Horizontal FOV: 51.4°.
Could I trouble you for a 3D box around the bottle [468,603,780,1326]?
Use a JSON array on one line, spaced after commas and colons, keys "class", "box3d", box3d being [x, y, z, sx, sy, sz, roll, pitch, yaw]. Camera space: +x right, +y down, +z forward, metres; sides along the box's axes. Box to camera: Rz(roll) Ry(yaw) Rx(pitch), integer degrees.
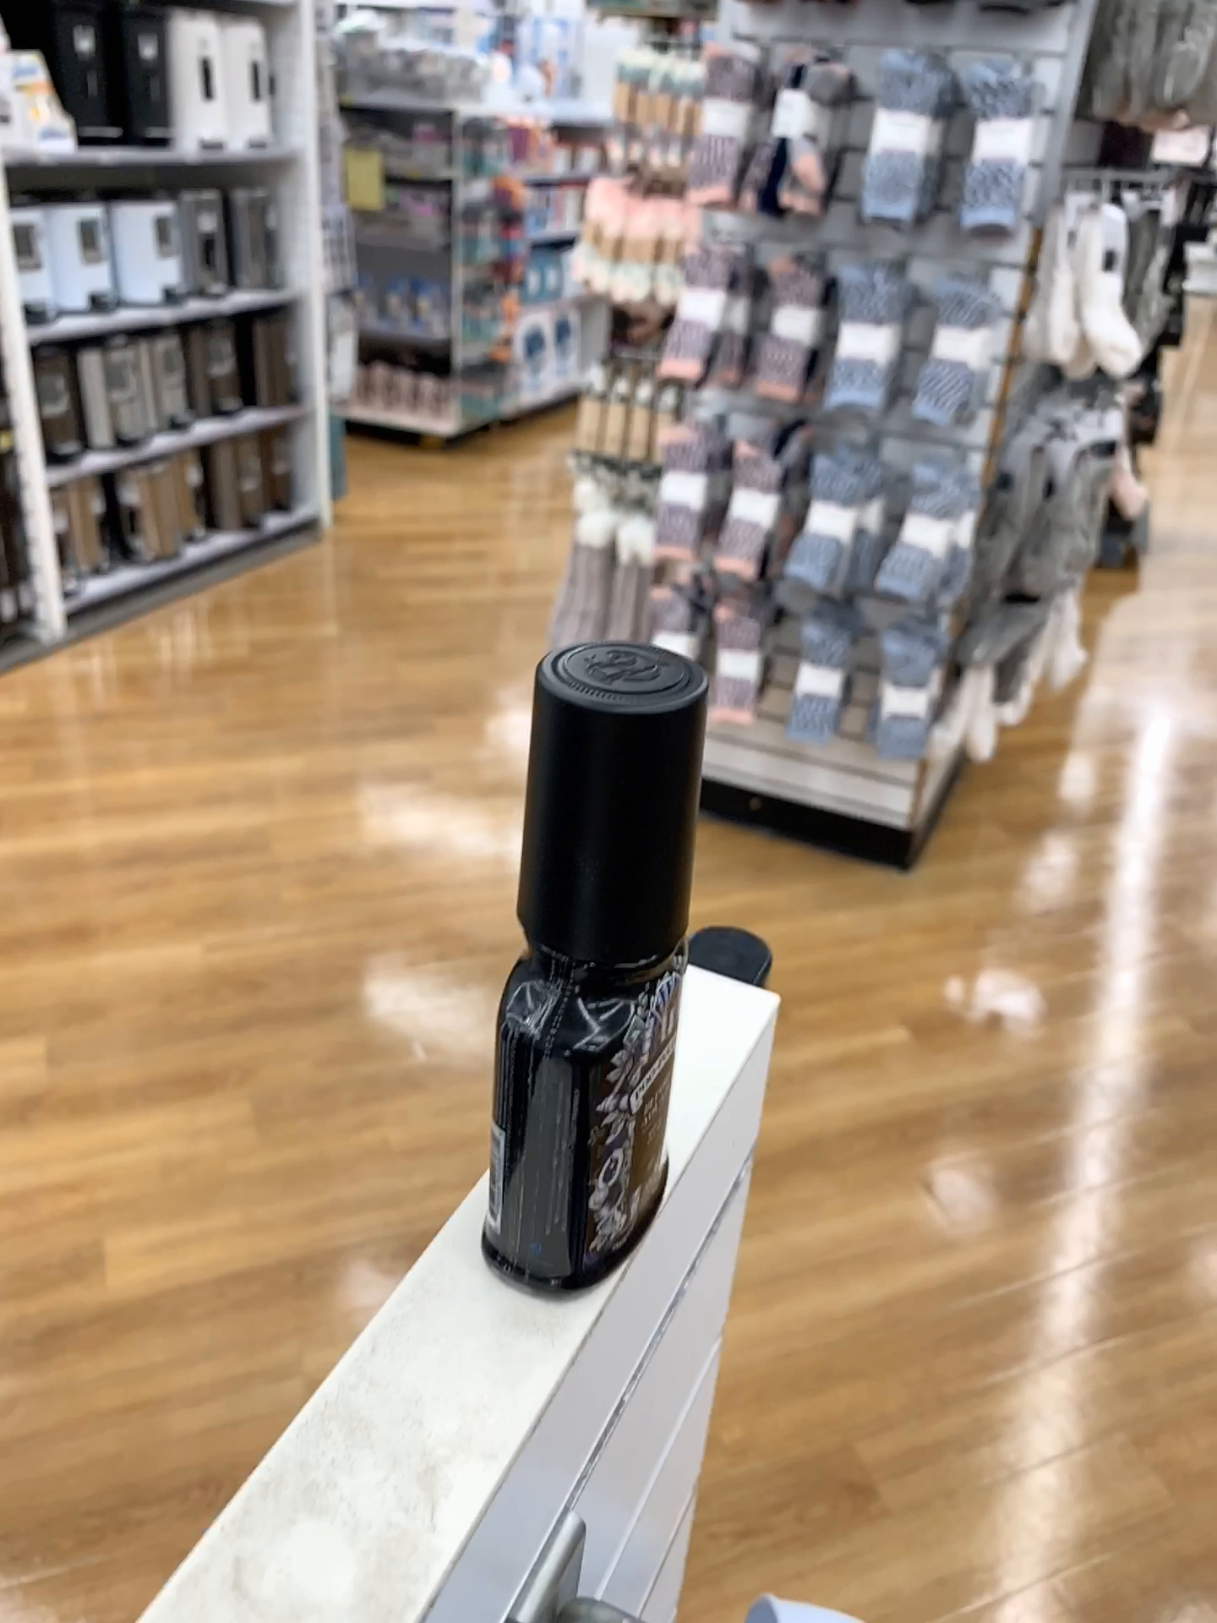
[{"class": "bottle", "box3d": [0.001, 0.030, 0.237, 0.032, 0.123, 0.050, 16, 31, 20]}]
